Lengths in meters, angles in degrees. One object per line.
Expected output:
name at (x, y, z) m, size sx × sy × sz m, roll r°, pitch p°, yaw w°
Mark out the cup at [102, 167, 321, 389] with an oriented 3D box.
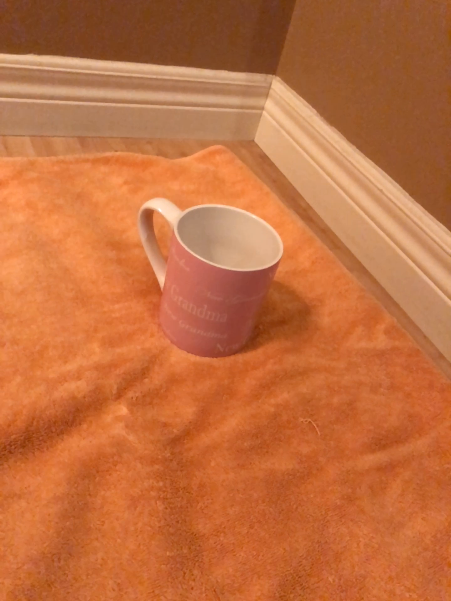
cup at (-0.019, -0.027, 0.445) m, size 0.110 × 0.109 × 0.140 m, roll -26°, pitch 56°, yaw -40°
